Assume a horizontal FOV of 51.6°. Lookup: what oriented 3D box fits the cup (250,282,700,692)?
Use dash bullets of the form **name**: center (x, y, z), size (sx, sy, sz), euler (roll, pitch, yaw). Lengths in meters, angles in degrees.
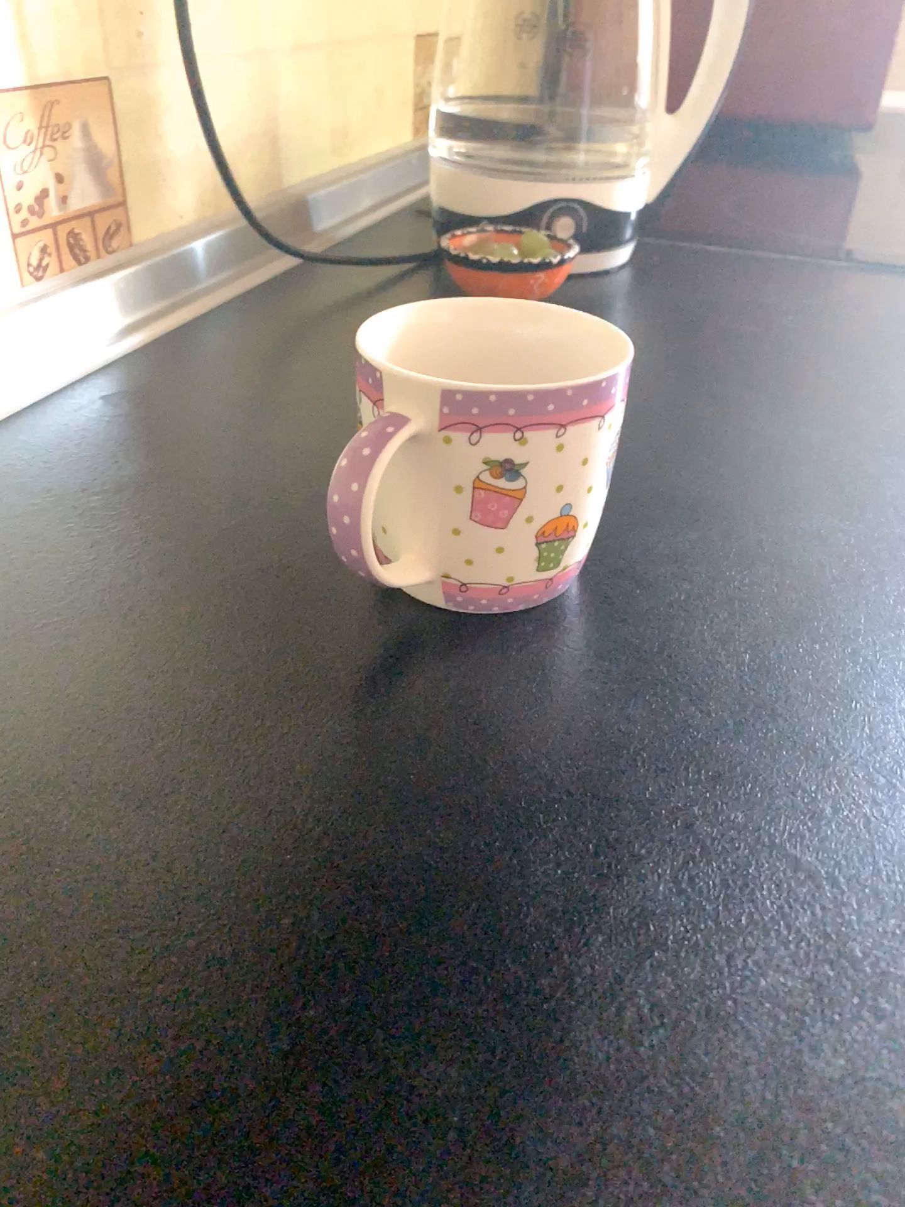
- **cup**: center (0.008, -0.045, 0.299), size (0.080, 0.080, 0.110), euler (29, 41, 34)
